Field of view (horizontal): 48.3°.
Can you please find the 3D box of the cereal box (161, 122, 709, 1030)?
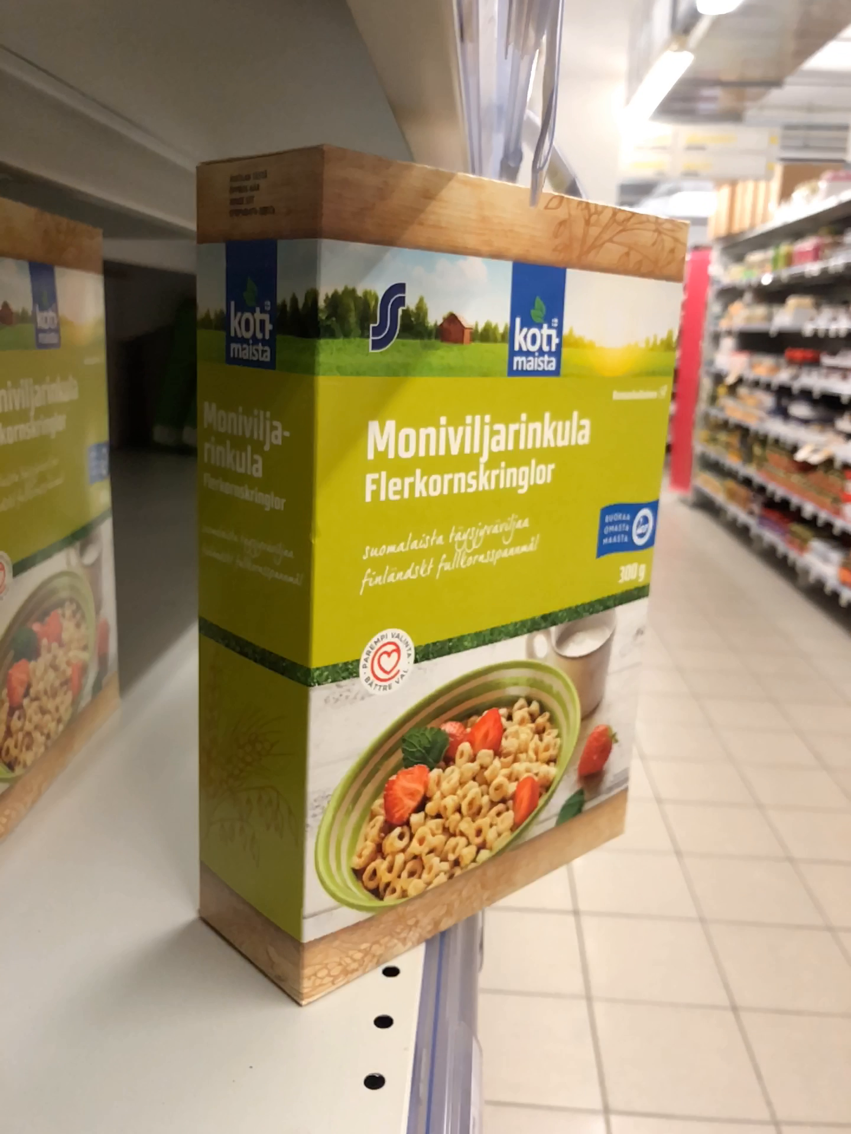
[{"bbox_3d":[0.010,-0.003,0.351,0.190,0.259,0.070,-10,18,-42],"label":"cereal box"}]
